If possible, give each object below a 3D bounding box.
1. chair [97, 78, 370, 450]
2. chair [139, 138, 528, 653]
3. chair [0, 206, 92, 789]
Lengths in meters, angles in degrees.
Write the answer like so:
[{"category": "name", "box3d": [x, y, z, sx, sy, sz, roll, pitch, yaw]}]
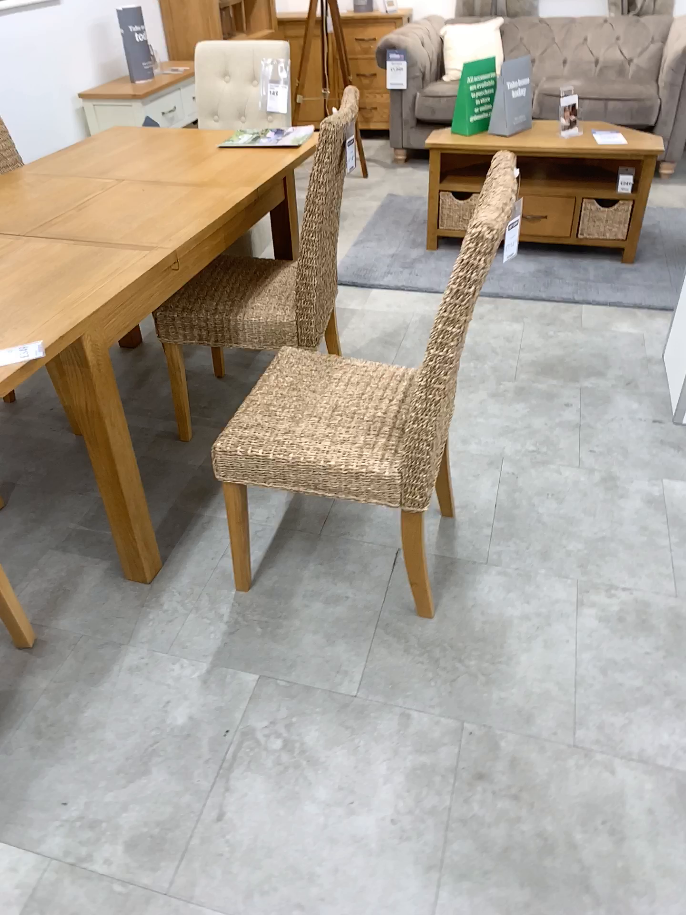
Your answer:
[{"category": "chair", "box3d": [-0.232, -0.526, 1.981, 0.552, 0.893, 0.441, 3, 38, 8]}, {"category": "chair", "box3d": [0.038, -0.123, 1.472, 0.563, 0.903, 0.492, 7, 38, 13]}, {"category": "chair", "box3d": [-0.855, 0.109, 1.163, 0.512, 0.903, 0.401, 1, 37, 5]}]
